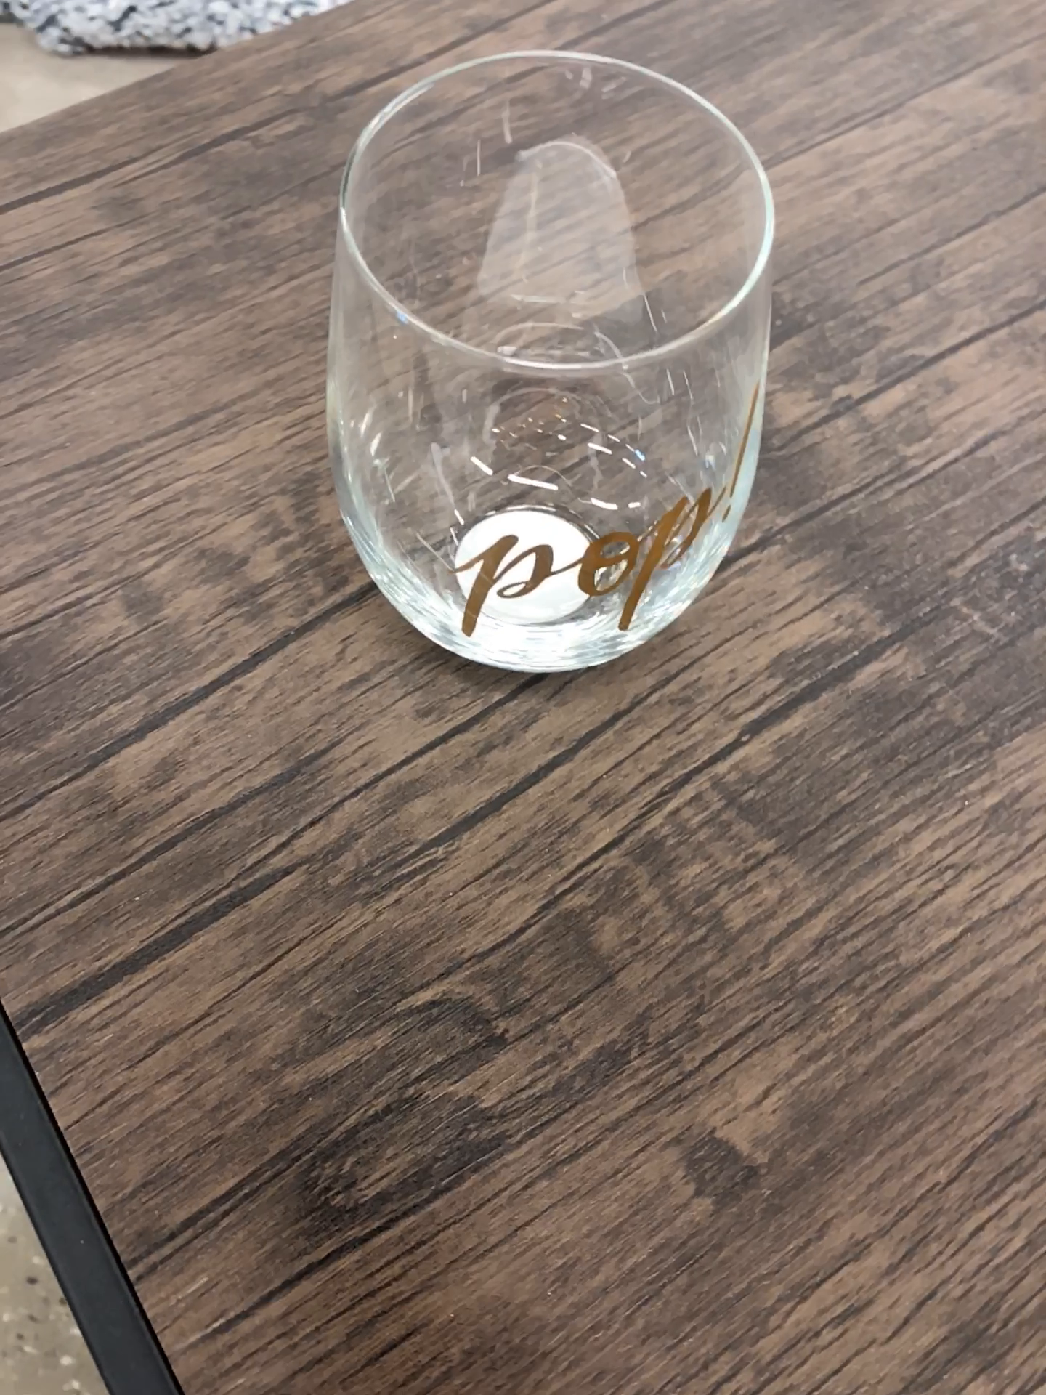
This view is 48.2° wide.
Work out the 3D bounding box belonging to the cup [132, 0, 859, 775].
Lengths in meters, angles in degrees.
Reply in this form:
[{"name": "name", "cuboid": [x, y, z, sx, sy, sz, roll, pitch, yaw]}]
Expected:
[{"name": "cup", "cuboid": [0.000, -0.063, 0.244, 0.100, 0.130, 0.100, 1, 63, -1]}]
